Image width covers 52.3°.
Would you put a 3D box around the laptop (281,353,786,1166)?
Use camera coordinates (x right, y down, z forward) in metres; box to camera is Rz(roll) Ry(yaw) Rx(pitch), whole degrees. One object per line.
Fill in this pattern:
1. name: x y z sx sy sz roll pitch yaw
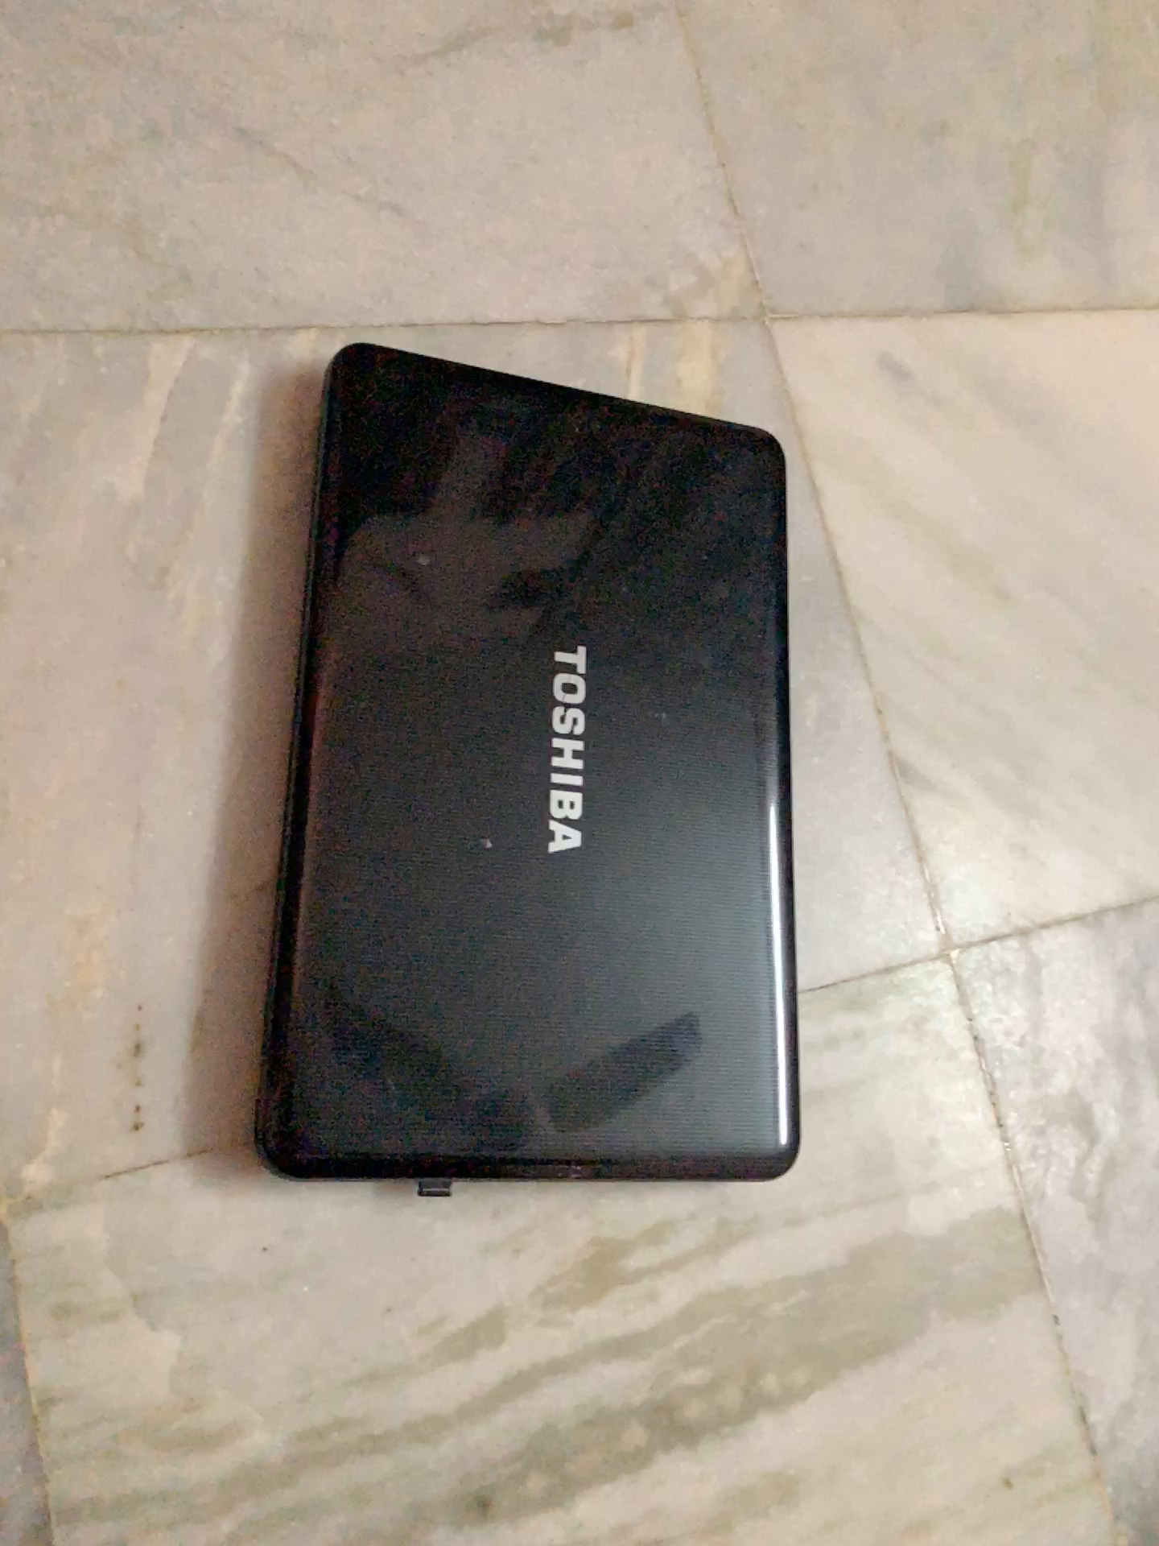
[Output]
1. laptop: -0.007 -0.009 0.538 0.222 0.003 0.355 6 76 -19
